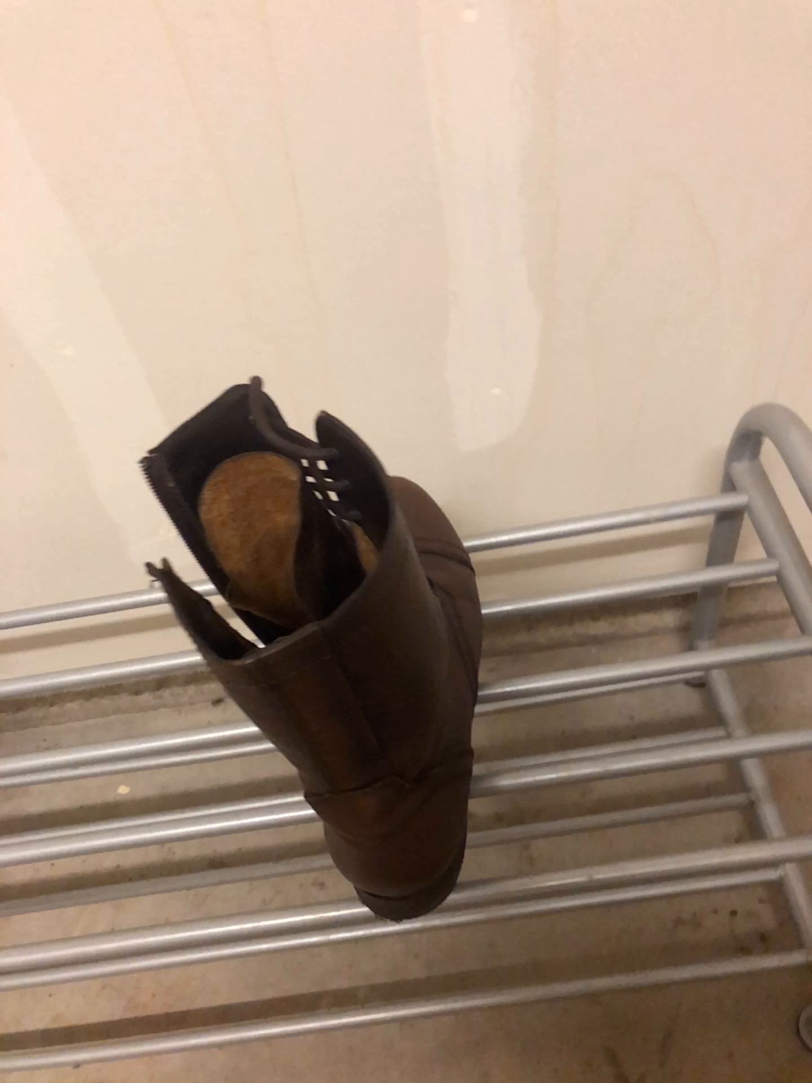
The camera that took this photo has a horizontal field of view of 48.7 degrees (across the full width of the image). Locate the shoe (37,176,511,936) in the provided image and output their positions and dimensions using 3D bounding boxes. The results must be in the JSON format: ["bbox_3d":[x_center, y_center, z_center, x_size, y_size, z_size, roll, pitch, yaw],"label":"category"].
[{"bbox_3d":[-0.034,0.010,0.457,0.121,0.238,0.288,-8,50,9],"label":"shoe"}]
